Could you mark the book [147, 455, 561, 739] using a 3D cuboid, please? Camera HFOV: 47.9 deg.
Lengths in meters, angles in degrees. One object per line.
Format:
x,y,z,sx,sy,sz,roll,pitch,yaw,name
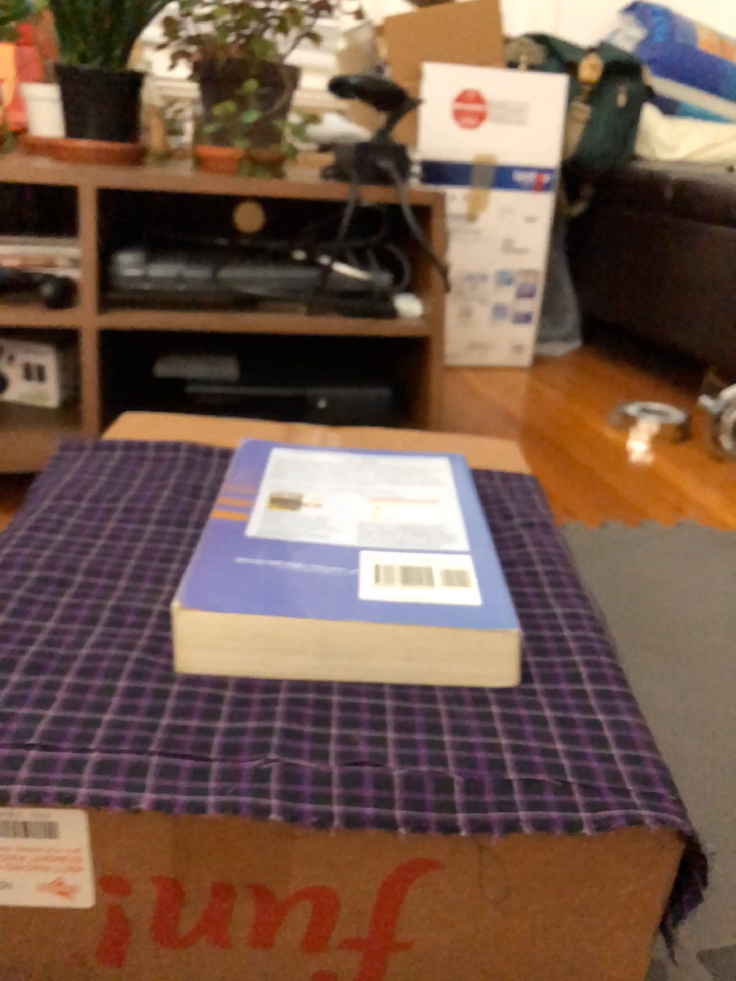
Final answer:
-0.010,0.045,0.478,0.180,0.040,0.241,3,23,-3,book
